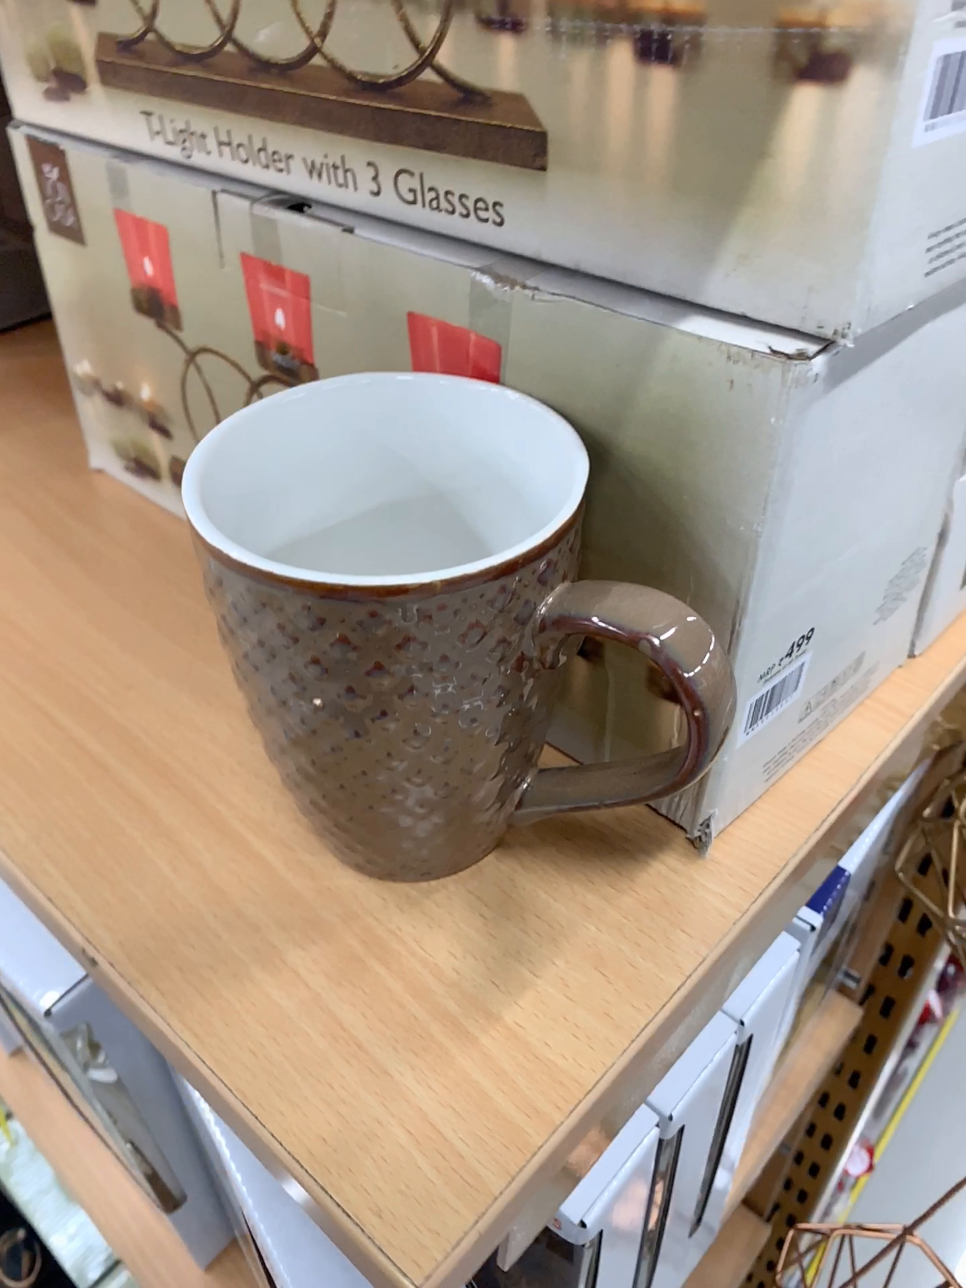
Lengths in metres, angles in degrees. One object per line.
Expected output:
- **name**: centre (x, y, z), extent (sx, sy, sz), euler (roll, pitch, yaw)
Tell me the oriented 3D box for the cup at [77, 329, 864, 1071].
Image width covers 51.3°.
- **cup**: centre (-0.005, 0.001, 0.228), extent (0.130, 0.090, 0.090), euler (27, 44, 29)
